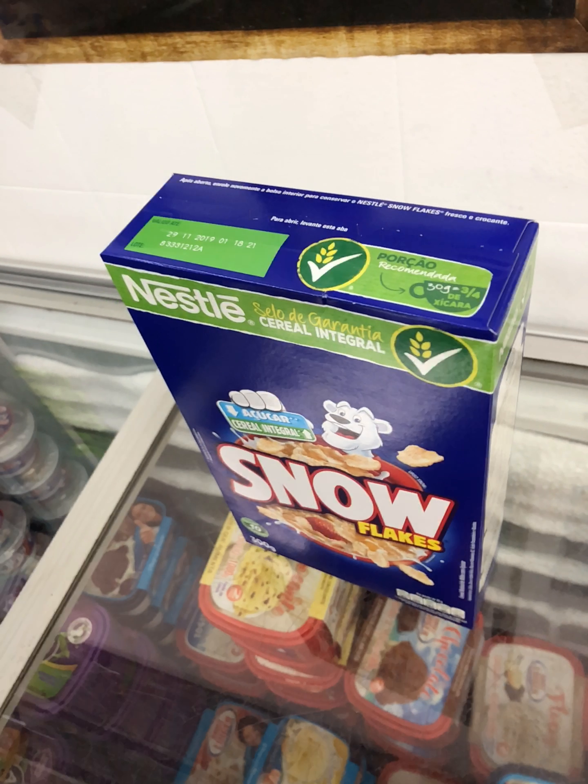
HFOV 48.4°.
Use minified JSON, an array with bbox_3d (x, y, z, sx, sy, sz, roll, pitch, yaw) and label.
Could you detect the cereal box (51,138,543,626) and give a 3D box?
[{"bbox_3d":[0.019,0.012,0.339,0.170,0.258,0.070,15,56,23],"label":"cereal box"}]
